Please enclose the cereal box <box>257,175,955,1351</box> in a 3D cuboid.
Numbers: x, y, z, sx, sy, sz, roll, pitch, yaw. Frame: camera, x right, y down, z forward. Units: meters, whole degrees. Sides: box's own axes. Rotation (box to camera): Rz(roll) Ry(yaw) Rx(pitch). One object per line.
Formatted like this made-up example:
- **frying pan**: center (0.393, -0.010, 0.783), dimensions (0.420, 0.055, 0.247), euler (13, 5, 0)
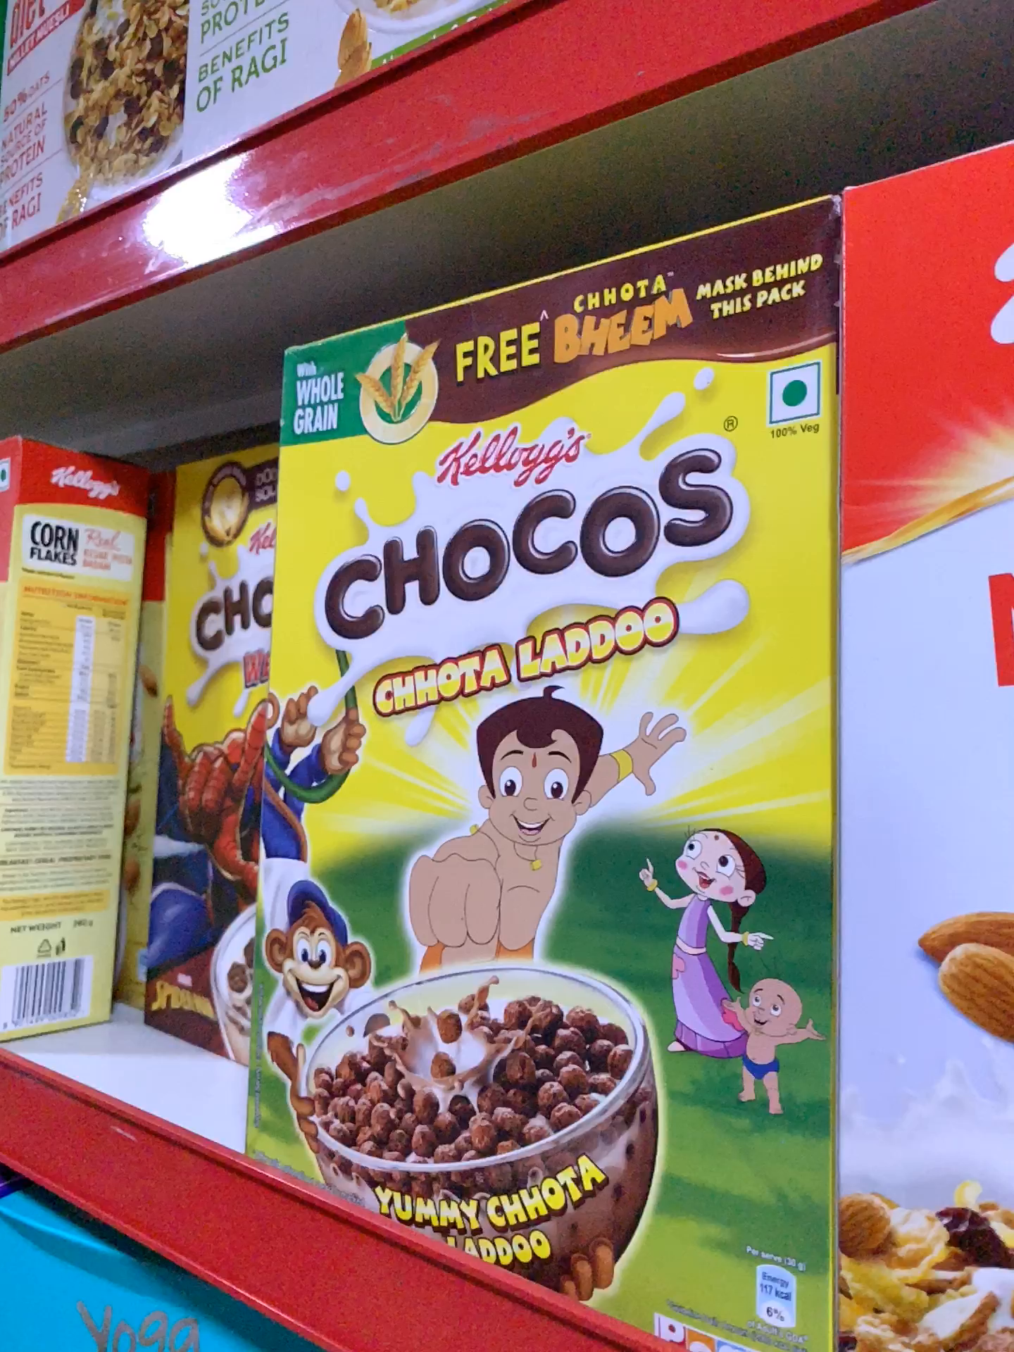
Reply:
- **cereal box**: center (0.022, 0.026, 0.298), dimensions (0.180, 0.260, 0.070), euler (-1, -5, 38)
